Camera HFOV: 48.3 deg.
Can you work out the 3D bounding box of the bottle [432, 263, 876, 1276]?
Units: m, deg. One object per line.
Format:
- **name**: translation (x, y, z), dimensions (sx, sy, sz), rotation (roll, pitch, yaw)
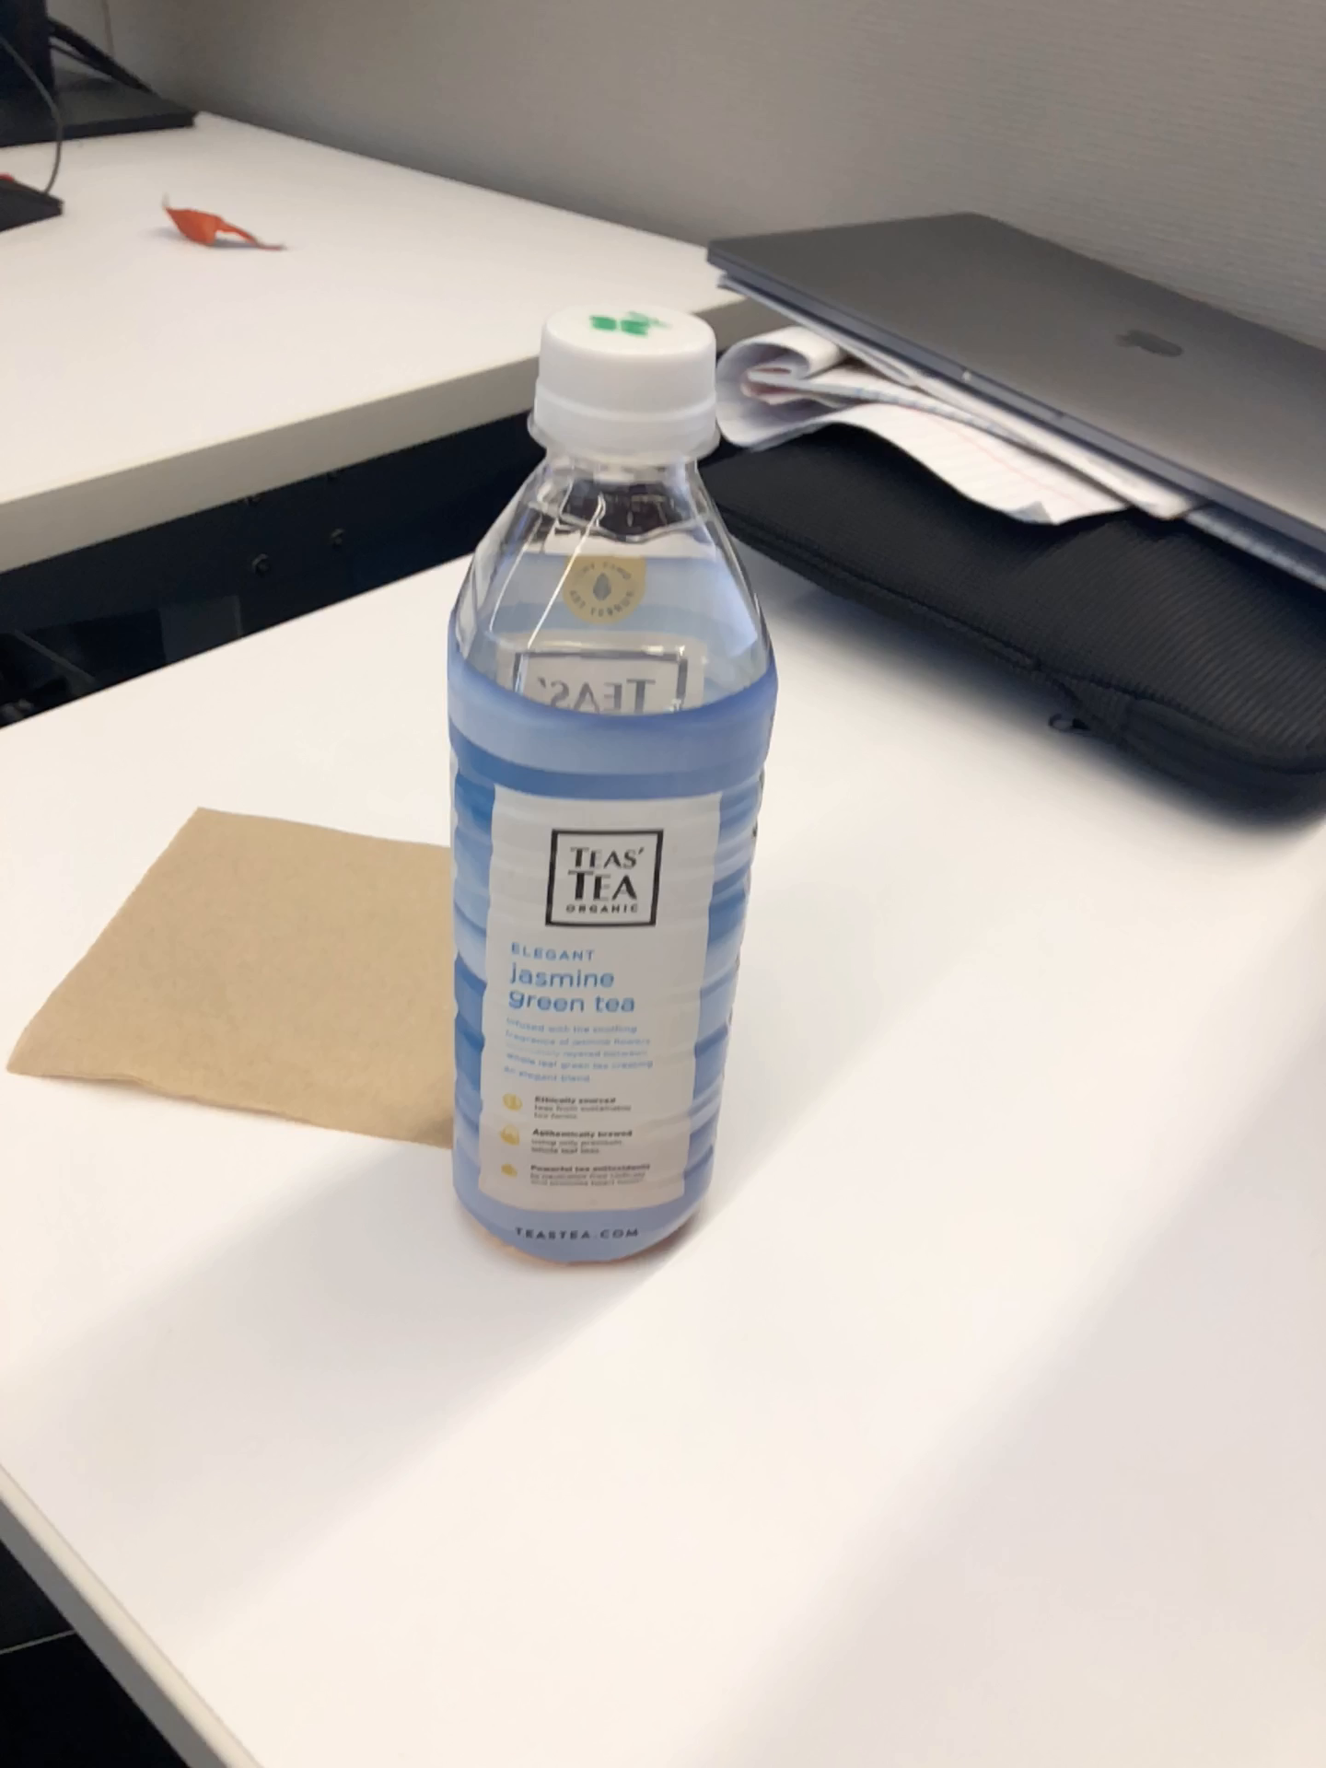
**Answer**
- **bottle**: translation (-0.011, -0.014, 0.320), dimensions (0.070, 0.209, 0.070), rotation (3, 35, -2)
